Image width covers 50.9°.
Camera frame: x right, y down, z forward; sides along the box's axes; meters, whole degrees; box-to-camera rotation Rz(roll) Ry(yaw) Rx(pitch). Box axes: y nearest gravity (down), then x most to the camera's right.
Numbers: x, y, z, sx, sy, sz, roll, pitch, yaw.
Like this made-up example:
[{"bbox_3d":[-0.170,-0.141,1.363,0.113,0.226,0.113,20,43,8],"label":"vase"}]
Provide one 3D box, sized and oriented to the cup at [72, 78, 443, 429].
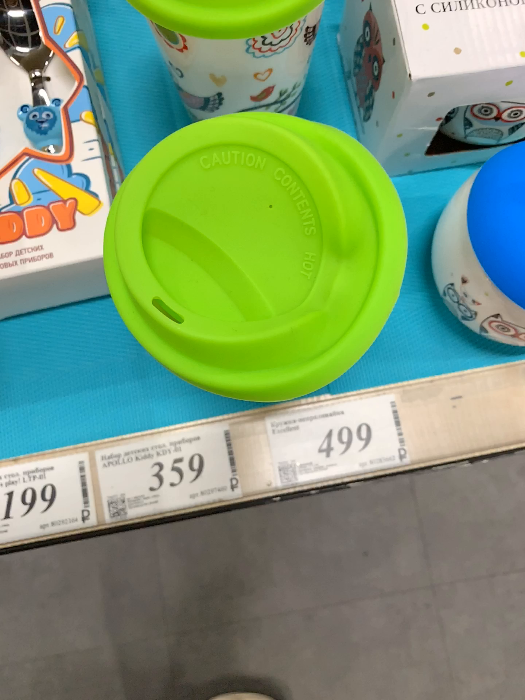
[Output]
[{"bbox_3d":[-0.004,-0.021,0.227,0.090,0.136,0.084,0,80,-1],"label":"cup"}]
